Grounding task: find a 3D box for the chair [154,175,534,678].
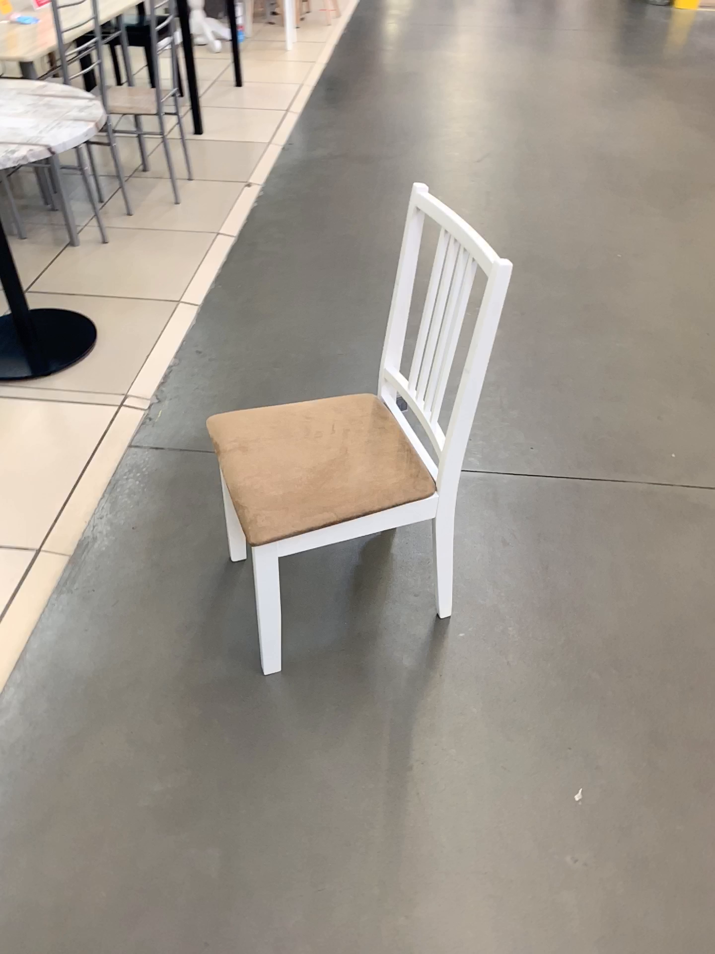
[{"bbox_3d":[-0.042,-0.079,1.427,0.500,0.816,0.402,-14,43,-16],"label":"chair"}]
